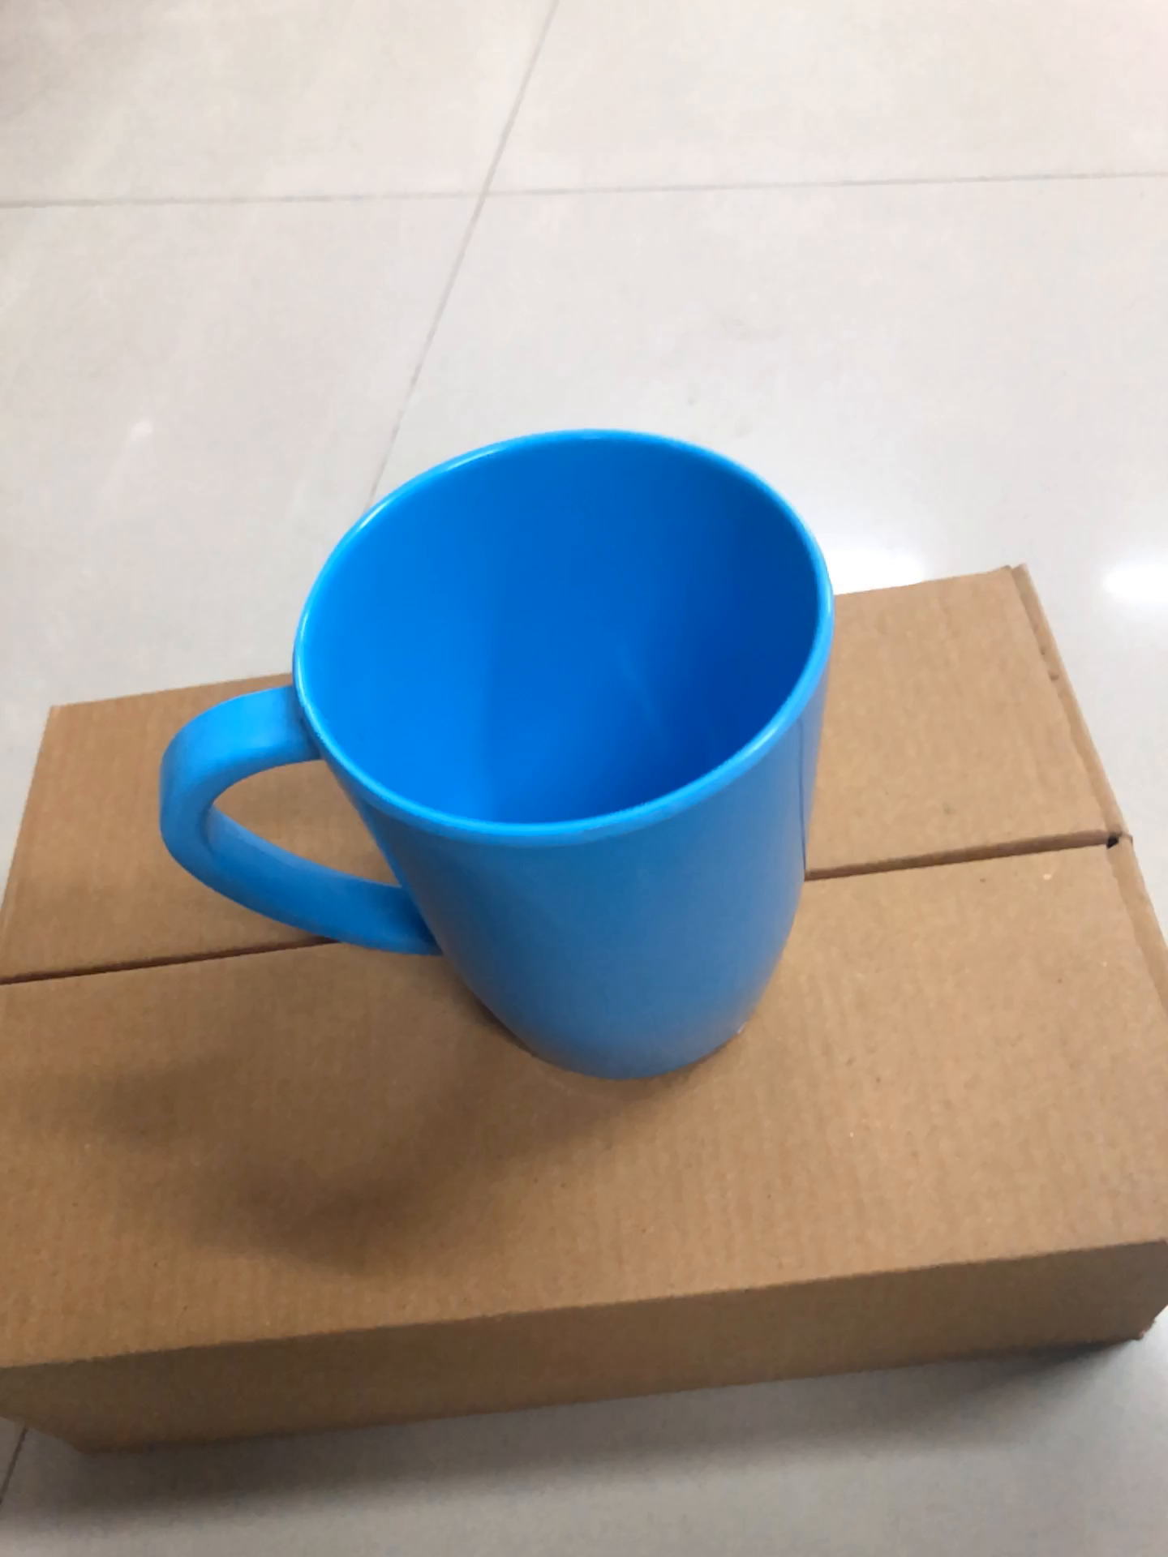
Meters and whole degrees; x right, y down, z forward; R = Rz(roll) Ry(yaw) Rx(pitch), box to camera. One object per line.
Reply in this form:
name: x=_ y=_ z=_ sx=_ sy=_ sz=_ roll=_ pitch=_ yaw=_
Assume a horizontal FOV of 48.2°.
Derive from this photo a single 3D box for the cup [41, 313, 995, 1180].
cup: x=-0.010 y=-0.002 z=0.219 sx=0.120 sy=0.090 sz=0.080 roll=-15 pitch=53 yaw=-2
